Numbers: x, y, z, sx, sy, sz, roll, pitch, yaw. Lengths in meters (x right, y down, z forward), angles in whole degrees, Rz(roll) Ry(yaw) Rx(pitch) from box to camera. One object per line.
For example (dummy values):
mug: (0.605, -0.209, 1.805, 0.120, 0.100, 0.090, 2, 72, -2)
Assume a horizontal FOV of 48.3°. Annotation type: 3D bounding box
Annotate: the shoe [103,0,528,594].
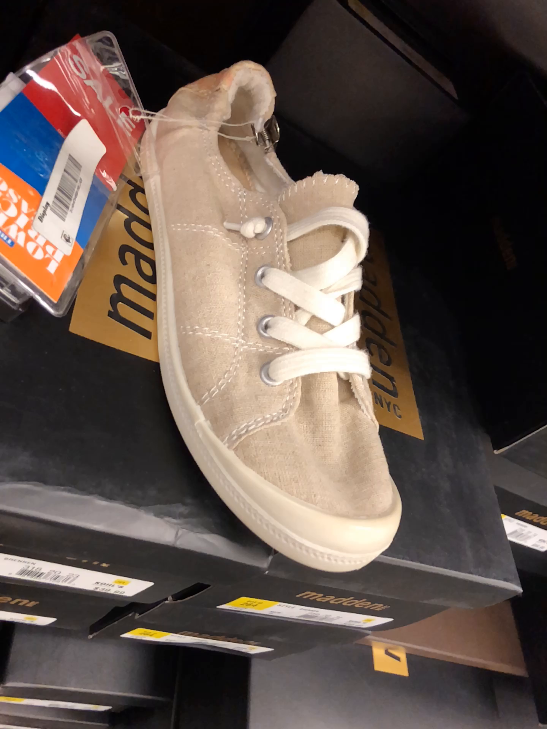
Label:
shoe: (0.003, -0.032, 0.242, 0.090, 0.070, 0.210, 8, 54, -39)
